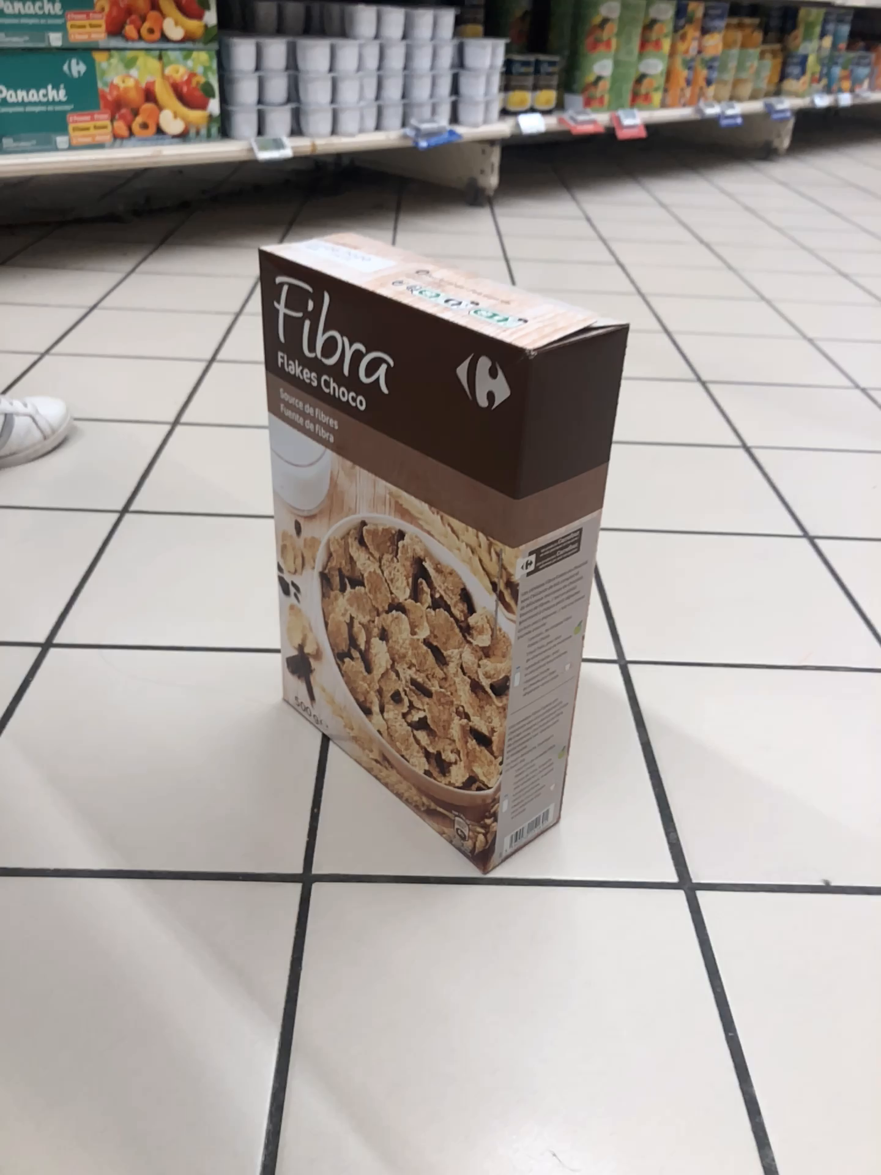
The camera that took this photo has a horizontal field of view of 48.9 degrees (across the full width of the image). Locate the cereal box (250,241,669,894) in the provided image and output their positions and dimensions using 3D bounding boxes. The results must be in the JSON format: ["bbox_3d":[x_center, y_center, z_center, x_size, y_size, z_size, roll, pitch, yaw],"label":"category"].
[{"bbox_3d":[-0.005,-0.014,0.508,0.070,0.278,0.200,-24,40,-36],"label":"cereal box"}]
